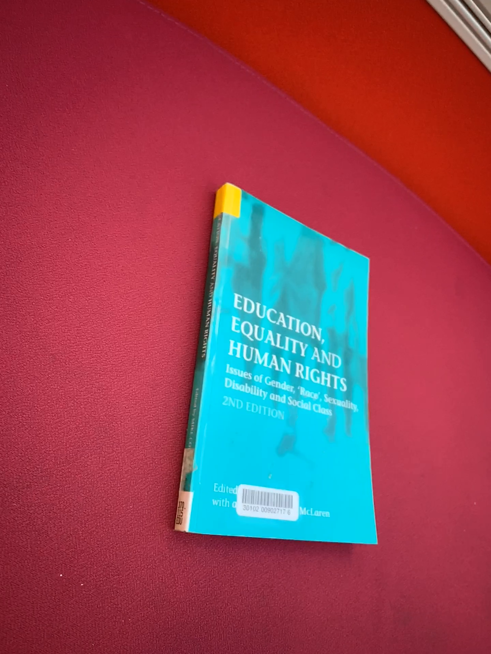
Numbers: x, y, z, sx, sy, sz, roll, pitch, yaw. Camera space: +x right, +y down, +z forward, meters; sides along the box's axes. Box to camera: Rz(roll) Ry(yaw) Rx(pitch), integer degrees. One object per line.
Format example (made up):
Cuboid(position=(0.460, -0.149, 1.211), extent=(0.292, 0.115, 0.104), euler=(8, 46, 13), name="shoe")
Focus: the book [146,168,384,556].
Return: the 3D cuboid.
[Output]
Cuboid(position=(0.031, 0.031, 0.380), extent=(0.181, 0.030, 0.251), euler=(20, 64, -34), name="book")
